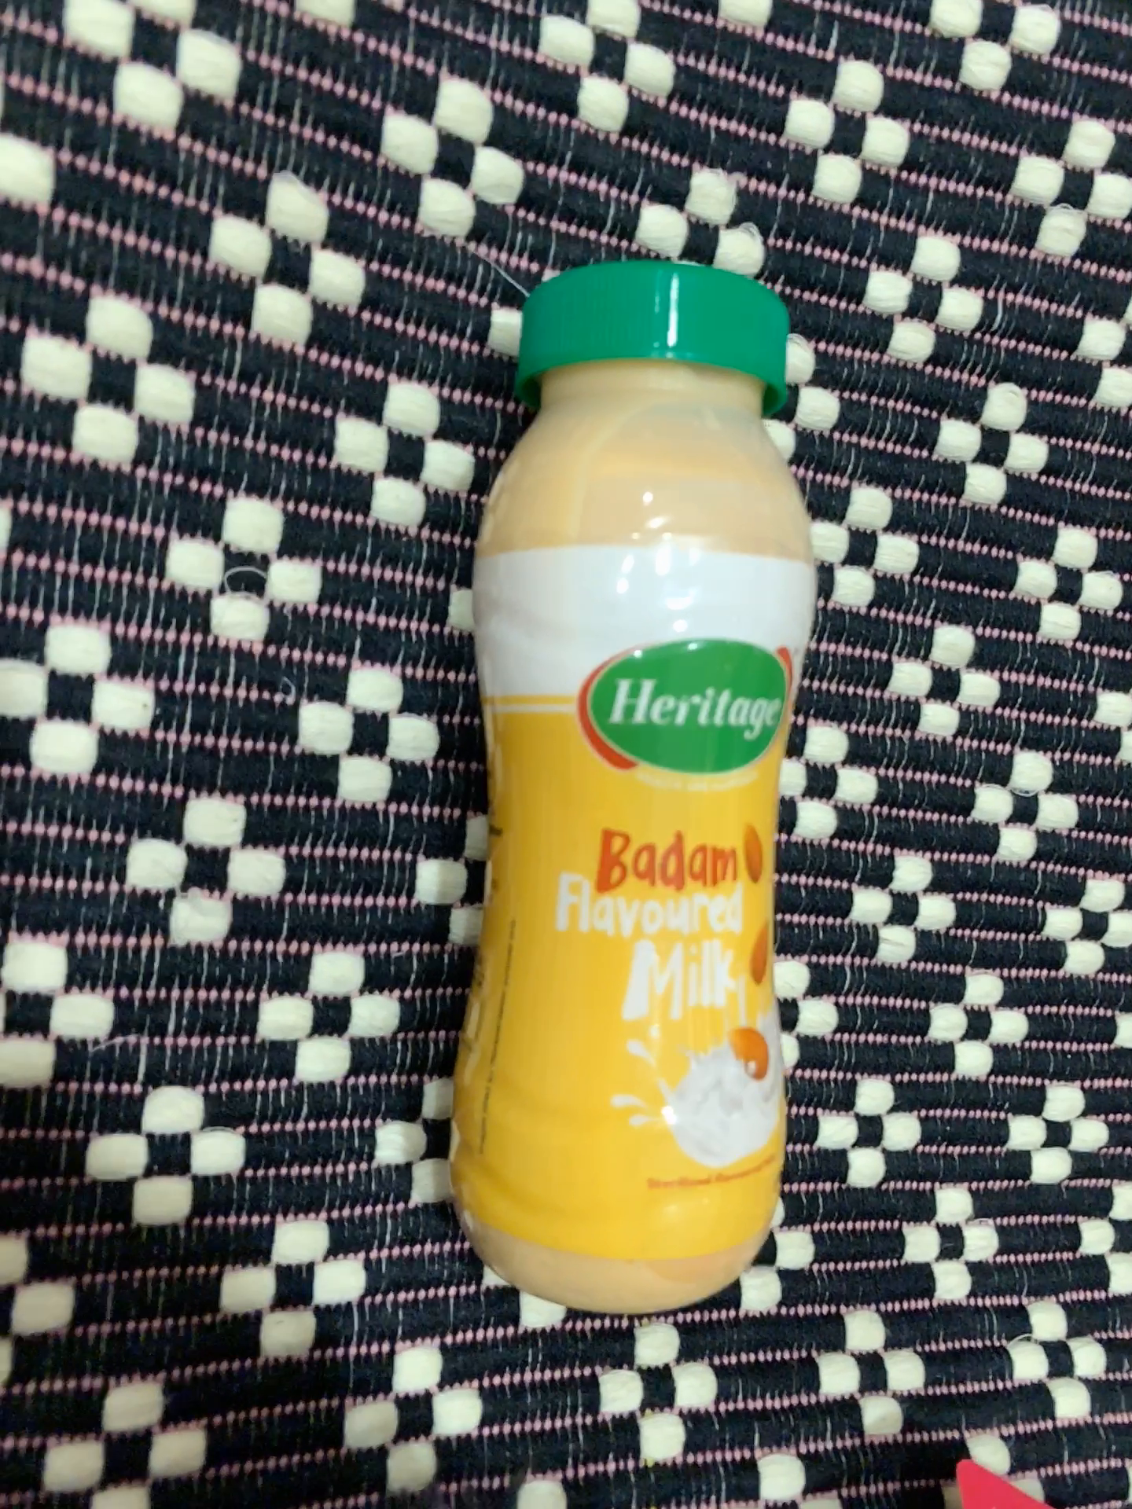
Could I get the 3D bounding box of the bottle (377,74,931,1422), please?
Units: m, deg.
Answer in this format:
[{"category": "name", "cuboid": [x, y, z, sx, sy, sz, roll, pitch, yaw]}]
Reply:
[{"category": "bottle", "cuboid": [0.012, 0.000, 0.162, 0.060, 0.040, 0.150, 2, 89, -28]}]
